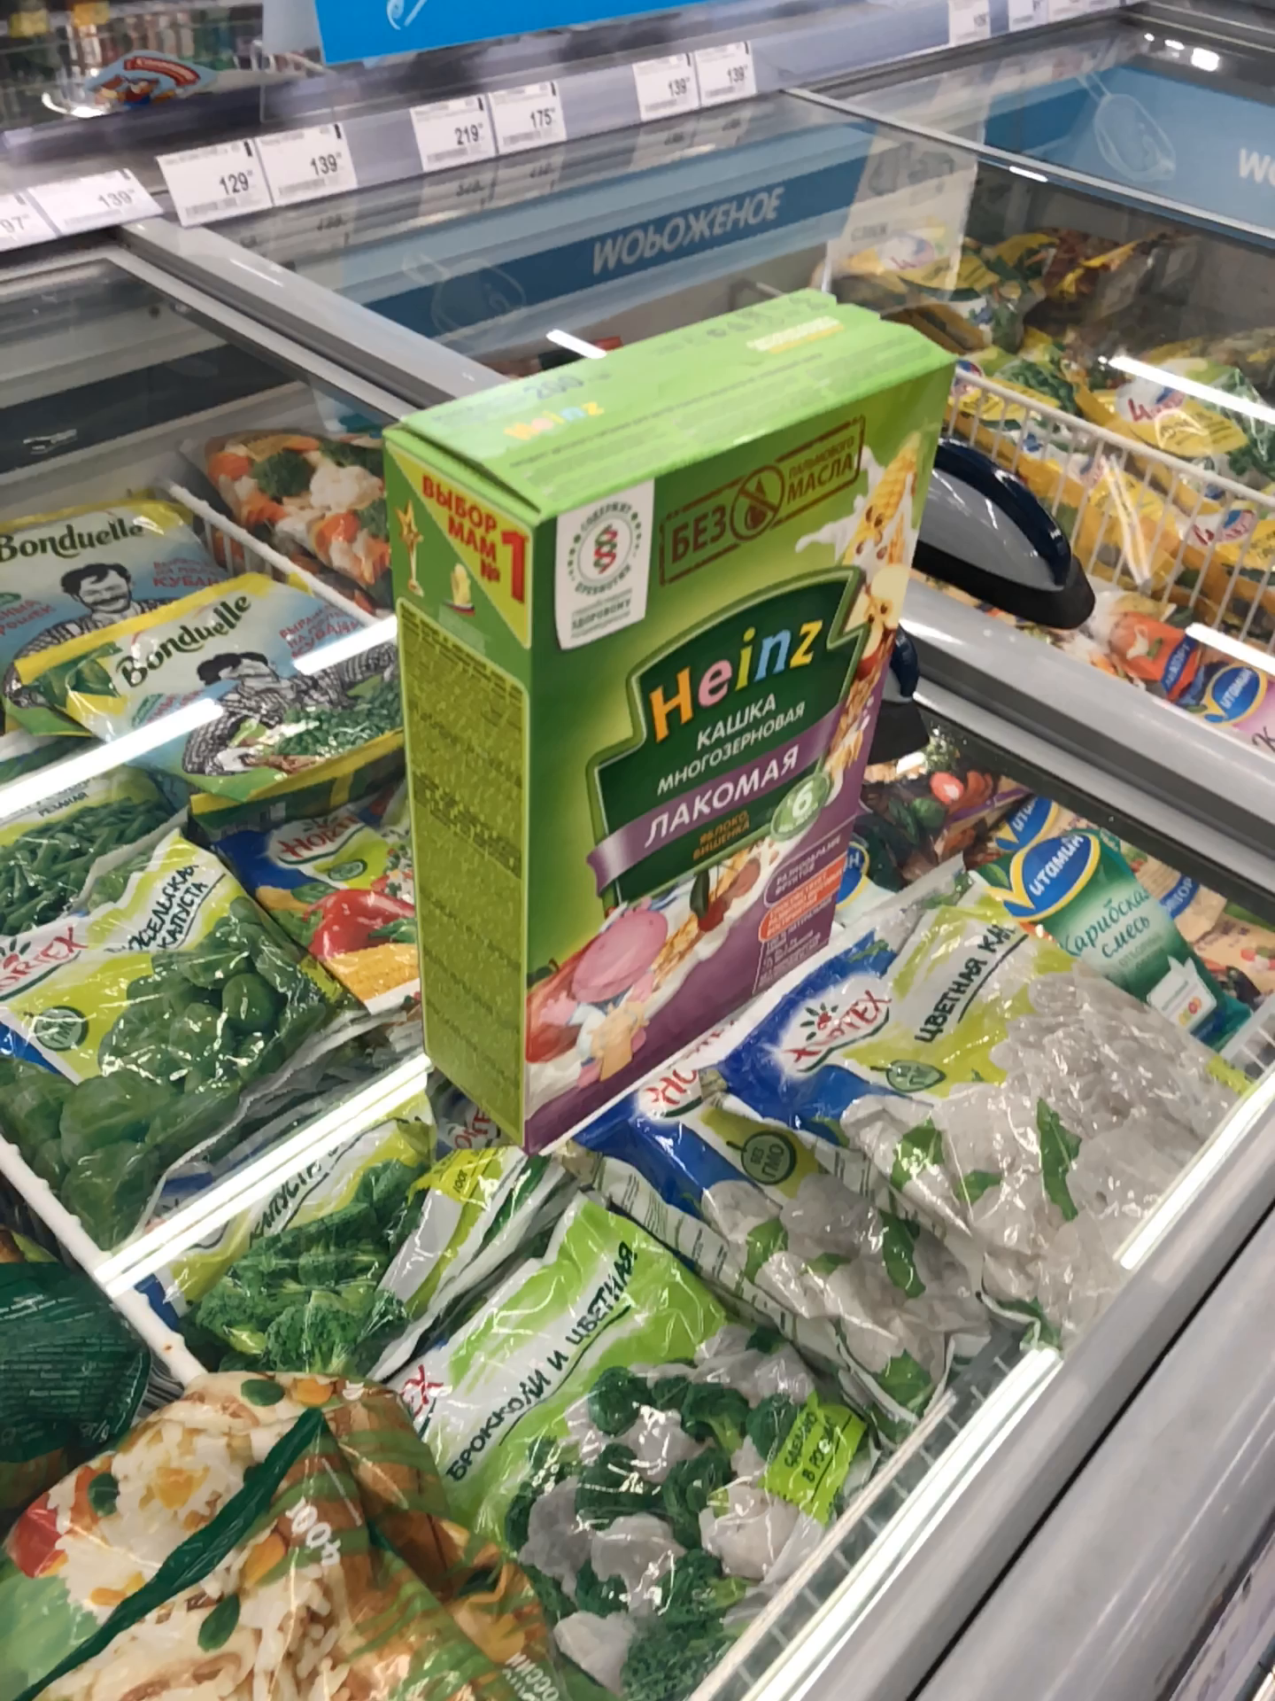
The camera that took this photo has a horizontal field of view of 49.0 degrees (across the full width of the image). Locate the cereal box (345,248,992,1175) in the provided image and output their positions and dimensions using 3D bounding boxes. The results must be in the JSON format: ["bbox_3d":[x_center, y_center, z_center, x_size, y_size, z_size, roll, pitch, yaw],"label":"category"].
[{"bbox_3d":[0.007,-0.030,0.358,0.140,0.199,0.050,-30,52,-33],"label":"cereal box"}]
